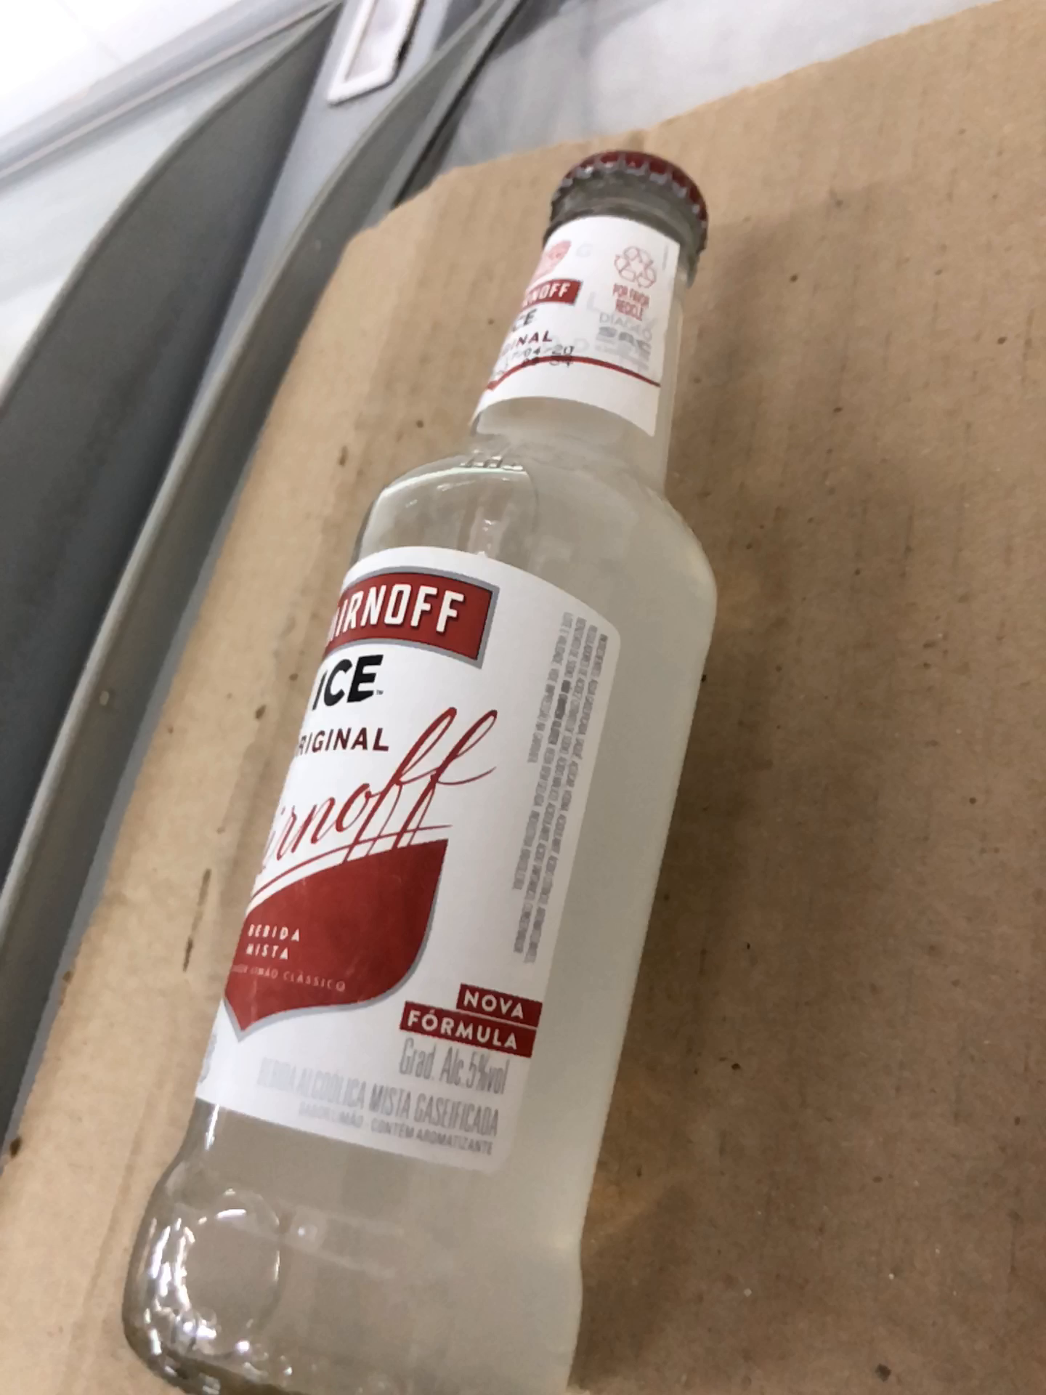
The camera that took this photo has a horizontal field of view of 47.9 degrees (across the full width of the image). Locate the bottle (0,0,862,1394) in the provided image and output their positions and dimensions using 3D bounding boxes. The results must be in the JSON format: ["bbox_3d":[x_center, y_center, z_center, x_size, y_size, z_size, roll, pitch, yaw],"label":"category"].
[{"bbox_3d":[-0.006,-0.005,0.173,0.070,0.050,0.210,-1,67,37],"label":"bottle"}]
